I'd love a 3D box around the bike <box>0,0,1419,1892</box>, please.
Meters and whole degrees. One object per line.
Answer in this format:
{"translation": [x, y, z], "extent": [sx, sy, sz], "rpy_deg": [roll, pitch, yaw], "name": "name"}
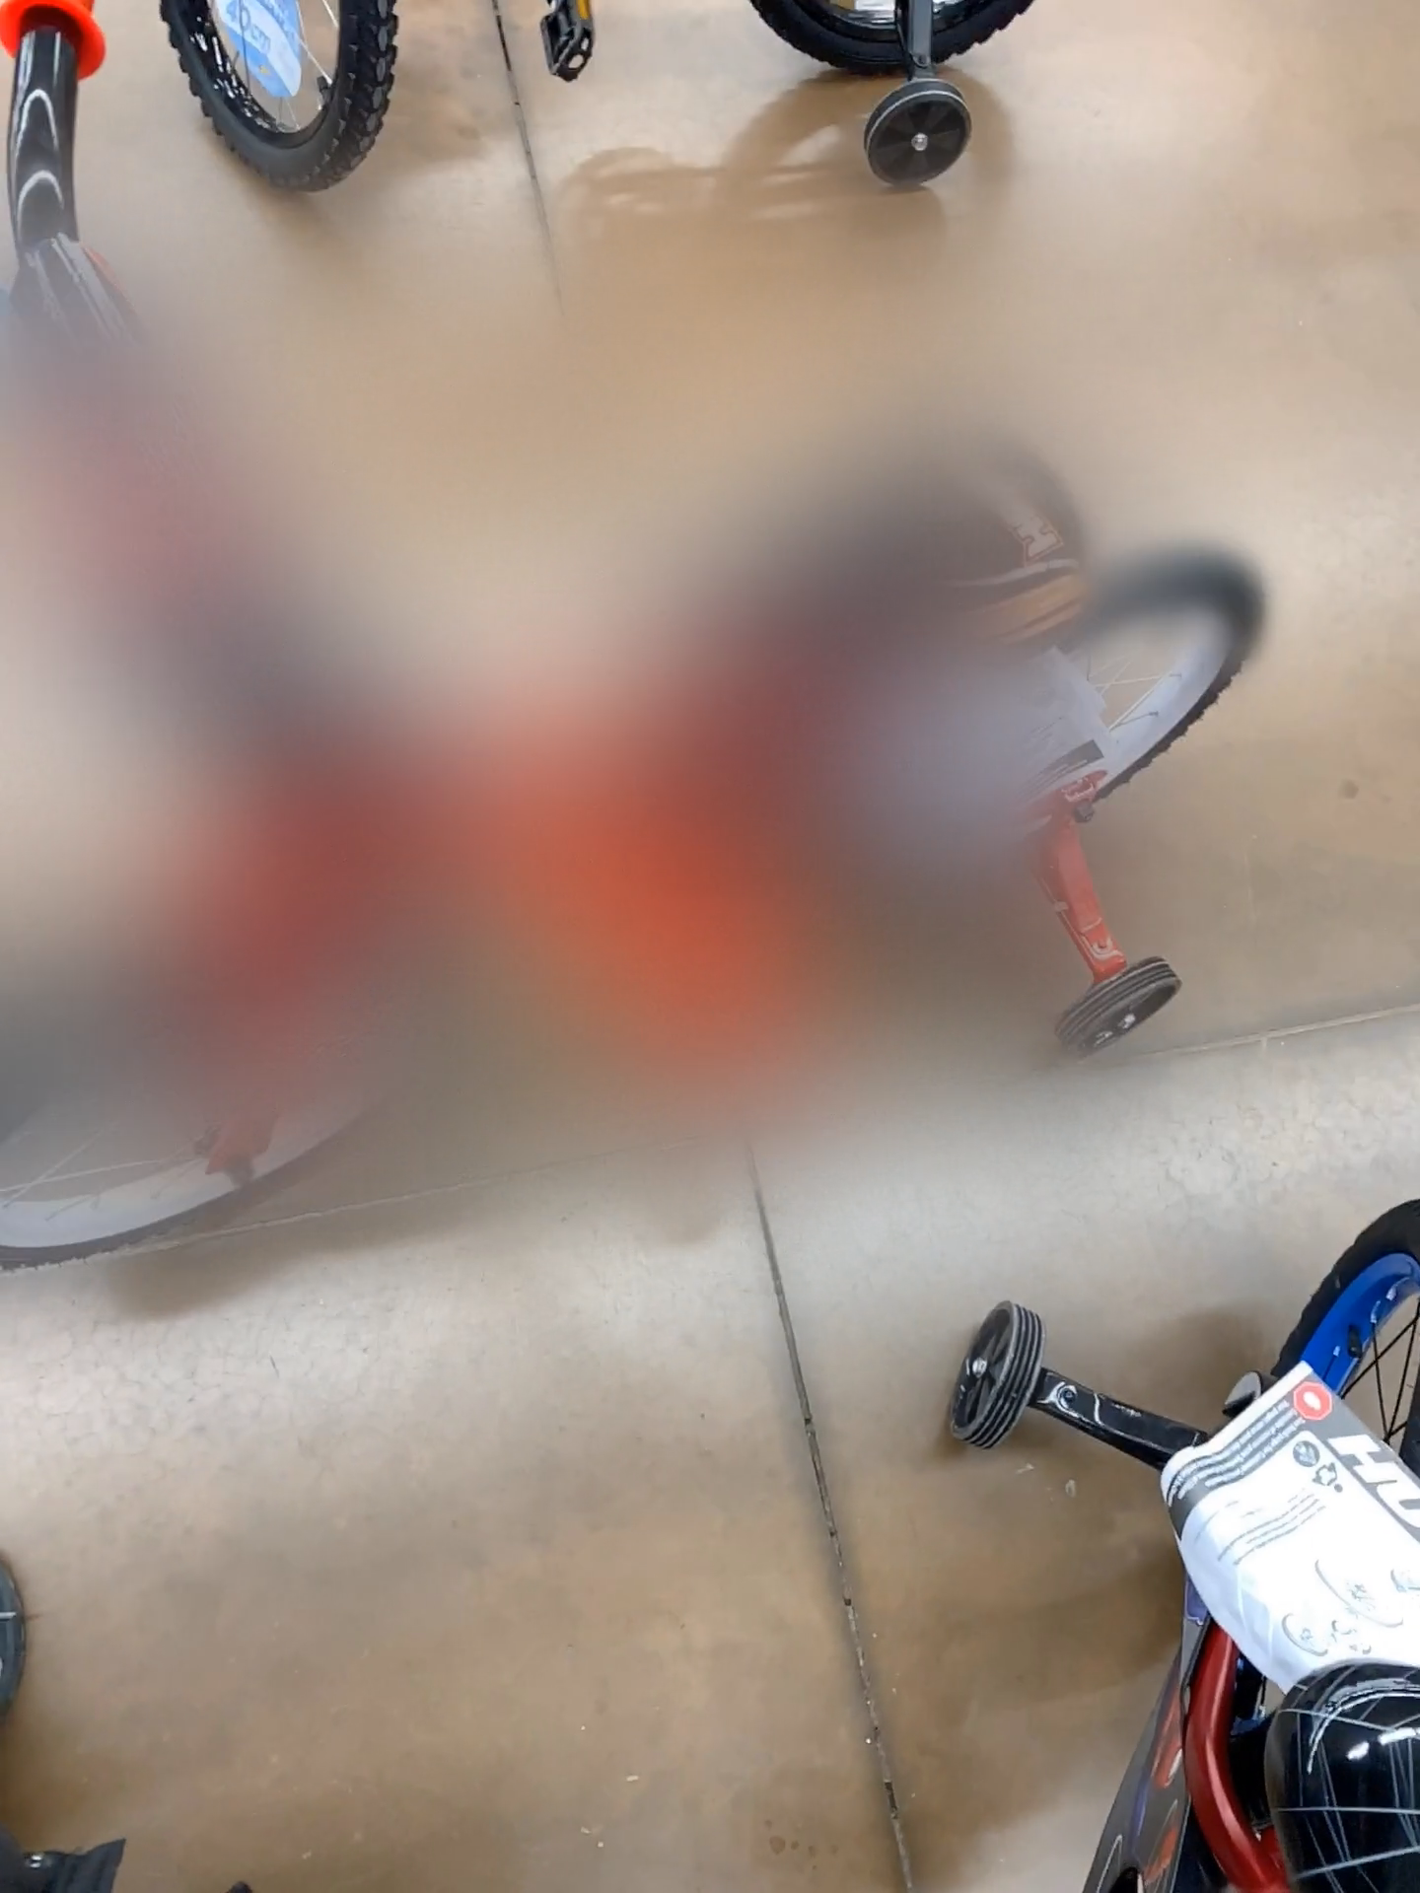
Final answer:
{"translation": [0.020, -0.086, 0.903], "extent": [1.140, 0.957, 0.516], "rpy_deg": [-25, 71, -17], "name": "bike"}
